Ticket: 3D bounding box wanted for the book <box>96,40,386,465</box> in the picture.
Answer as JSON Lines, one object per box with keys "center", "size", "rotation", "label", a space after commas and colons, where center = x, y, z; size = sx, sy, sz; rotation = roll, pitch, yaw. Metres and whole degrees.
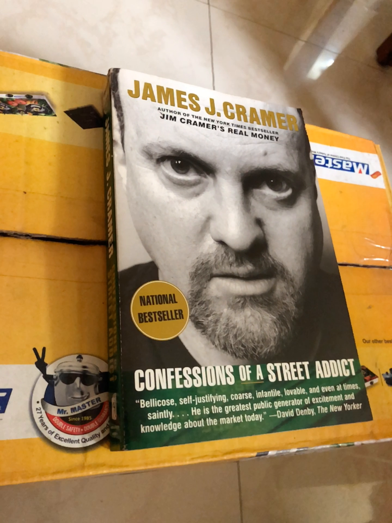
{"center": [0.018, -0.016, 0.260], "size": [0.140, 0.030, 0.230], "rotation": [3, 66, -24], "label": "book"}
